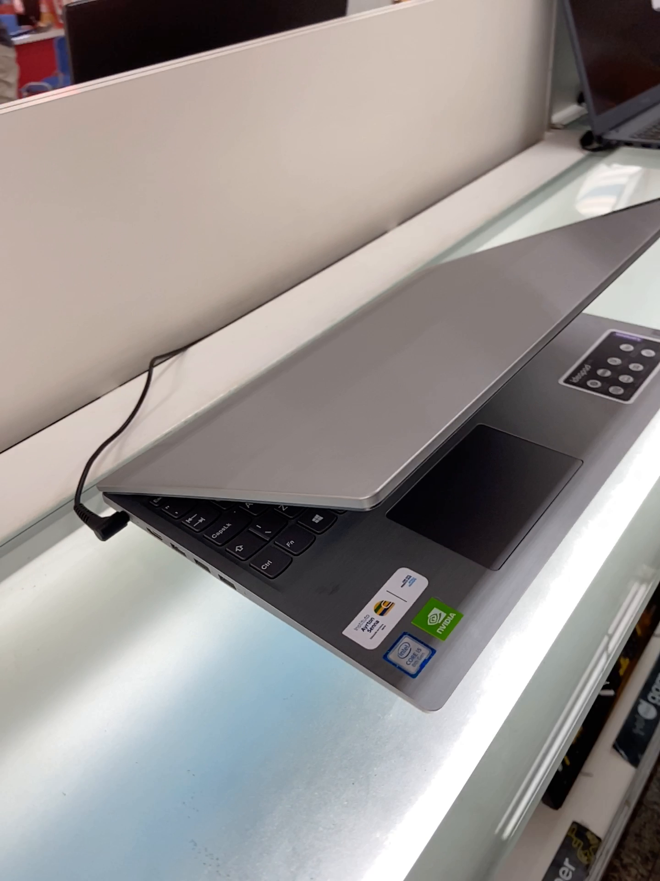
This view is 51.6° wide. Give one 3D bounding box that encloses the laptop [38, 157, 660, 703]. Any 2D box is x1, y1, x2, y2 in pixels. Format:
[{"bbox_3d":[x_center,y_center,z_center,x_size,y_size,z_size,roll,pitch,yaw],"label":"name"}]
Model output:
[{"bbox_3d":[0.057,-0.062,0.423,0.239,0.104,0.355,23,46,34],"label":"laptop"}]
